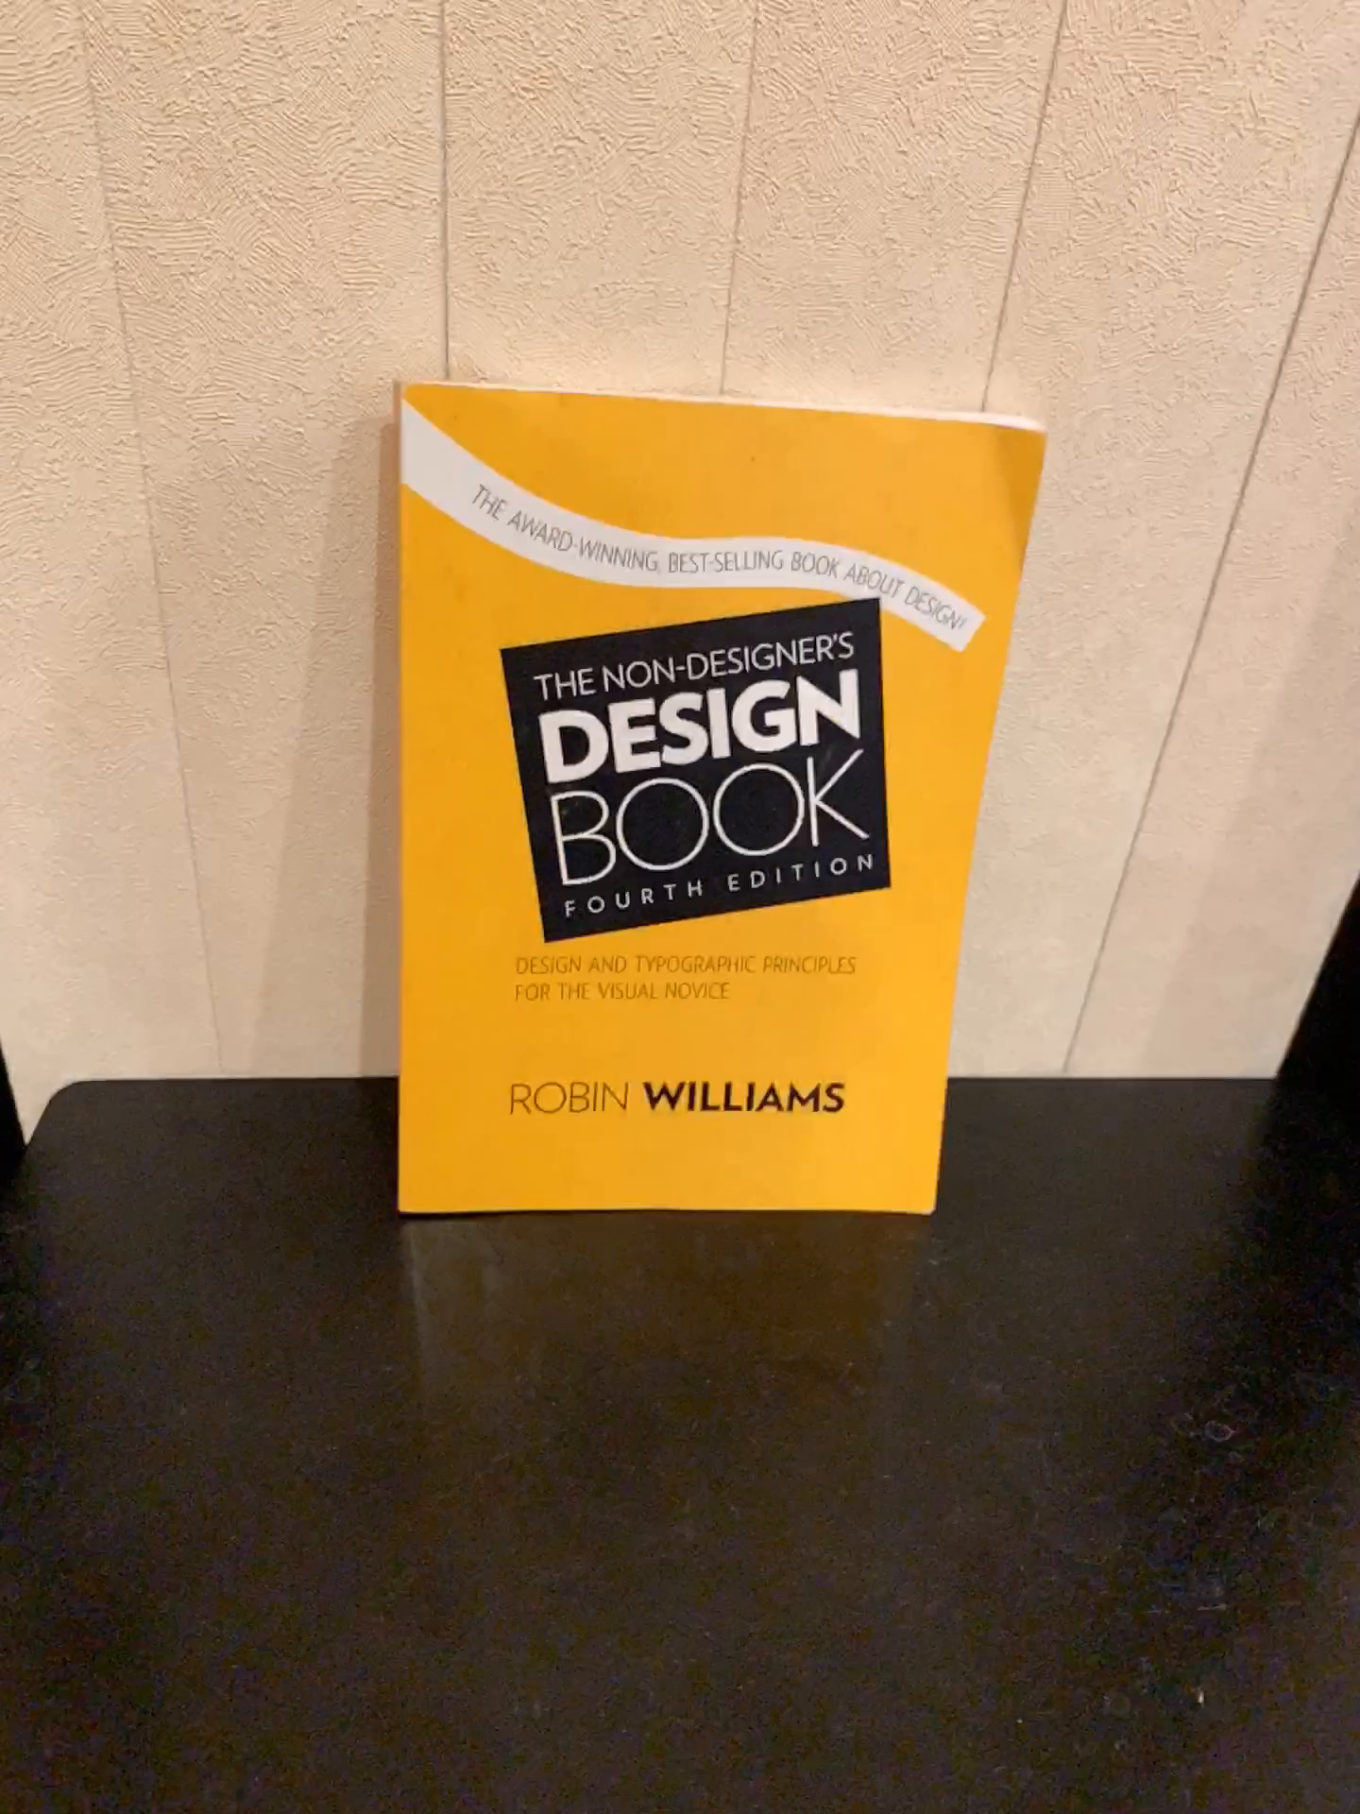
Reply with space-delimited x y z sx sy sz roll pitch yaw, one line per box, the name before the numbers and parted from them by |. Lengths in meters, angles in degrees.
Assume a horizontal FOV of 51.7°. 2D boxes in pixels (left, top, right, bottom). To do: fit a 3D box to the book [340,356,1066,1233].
book | -0.001 -0.022 0.424 0.190 0.259 0.030 2 20 -5
